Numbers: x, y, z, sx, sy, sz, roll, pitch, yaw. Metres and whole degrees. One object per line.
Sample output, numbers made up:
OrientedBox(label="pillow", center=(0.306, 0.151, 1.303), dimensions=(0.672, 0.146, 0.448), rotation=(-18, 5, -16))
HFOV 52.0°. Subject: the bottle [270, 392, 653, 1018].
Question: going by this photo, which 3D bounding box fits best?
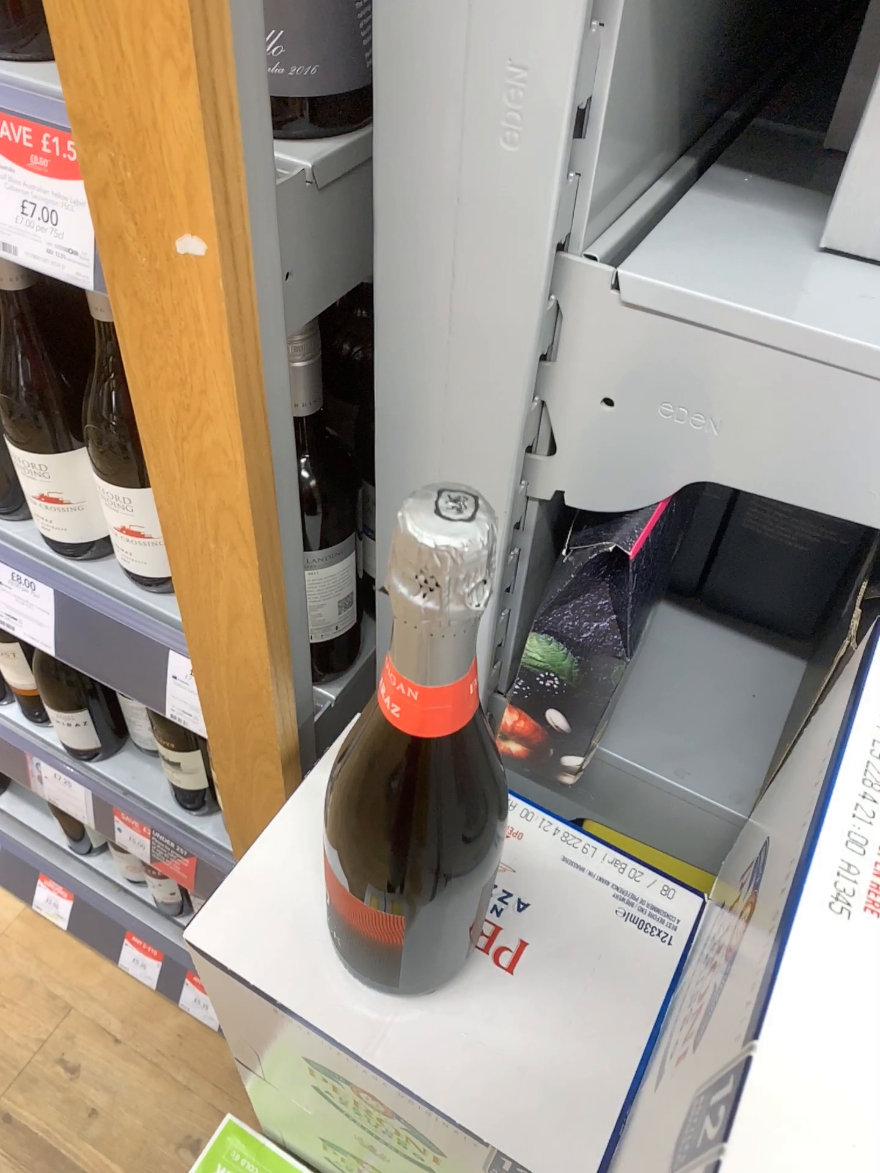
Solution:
OrientedBox(label="bottle", center=(-0.005, 0.072, 0.374), dimensions=(0.094, 0.289, 0.091), rotation=(2, 47, -2))
